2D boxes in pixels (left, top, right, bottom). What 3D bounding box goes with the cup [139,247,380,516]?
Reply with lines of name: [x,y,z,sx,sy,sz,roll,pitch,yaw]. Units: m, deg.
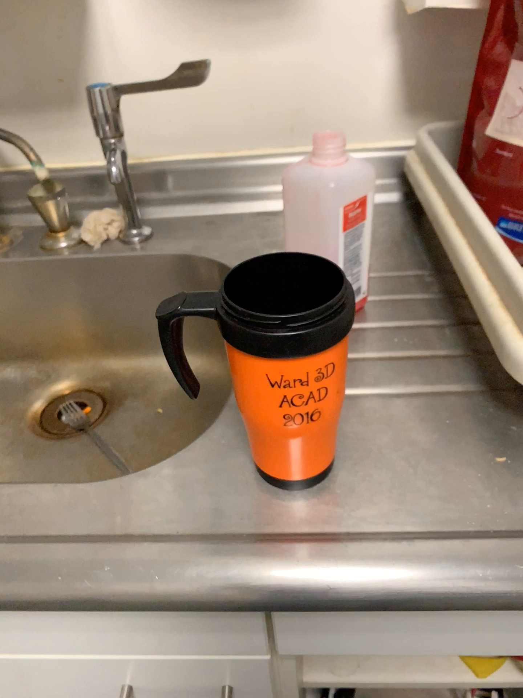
cup: [0.004,0.027,0.386,0.134,0.164,0.090,-3,36,2]
